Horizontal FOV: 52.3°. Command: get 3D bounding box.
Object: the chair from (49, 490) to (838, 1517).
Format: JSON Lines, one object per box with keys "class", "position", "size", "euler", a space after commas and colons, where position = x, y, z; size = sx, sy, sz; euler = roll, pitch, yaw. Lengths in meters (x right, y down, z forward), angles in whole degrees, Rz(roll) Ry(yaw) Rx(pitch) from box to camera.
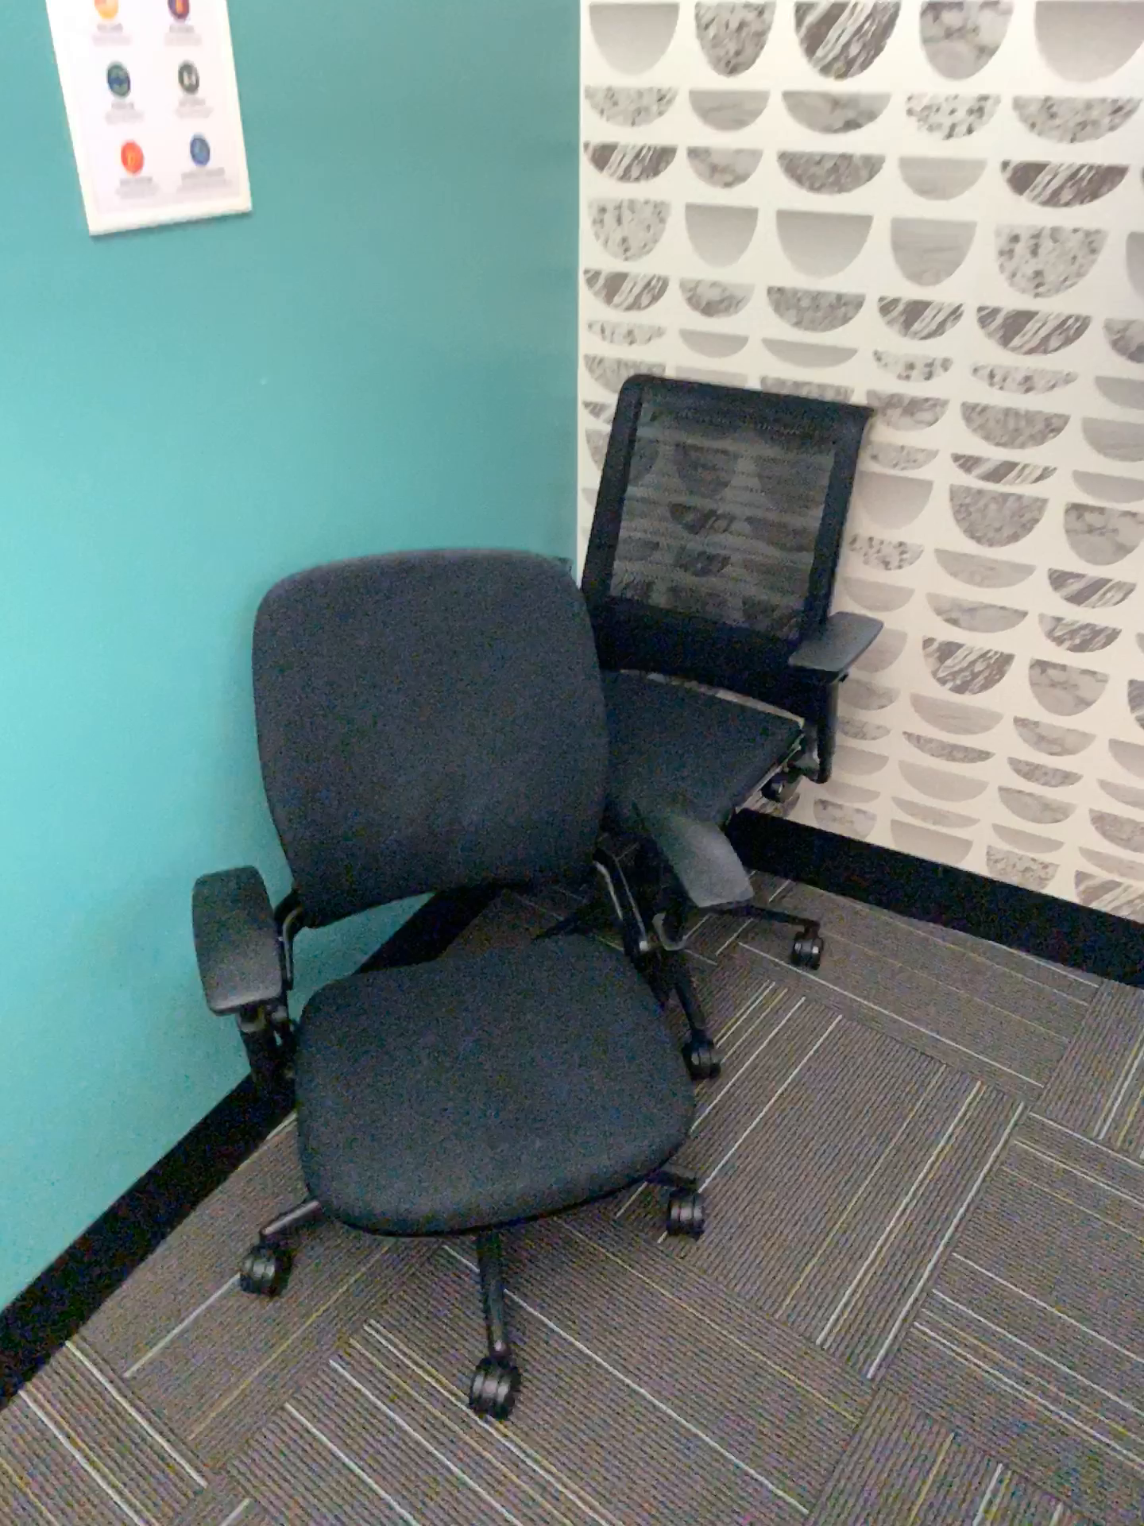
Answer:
{"class": "chair", "position": [-0.181, 0.251, 1.530], "size": [0.660, 0.944, 0.775], "euler": [-8, 32, -12]}
